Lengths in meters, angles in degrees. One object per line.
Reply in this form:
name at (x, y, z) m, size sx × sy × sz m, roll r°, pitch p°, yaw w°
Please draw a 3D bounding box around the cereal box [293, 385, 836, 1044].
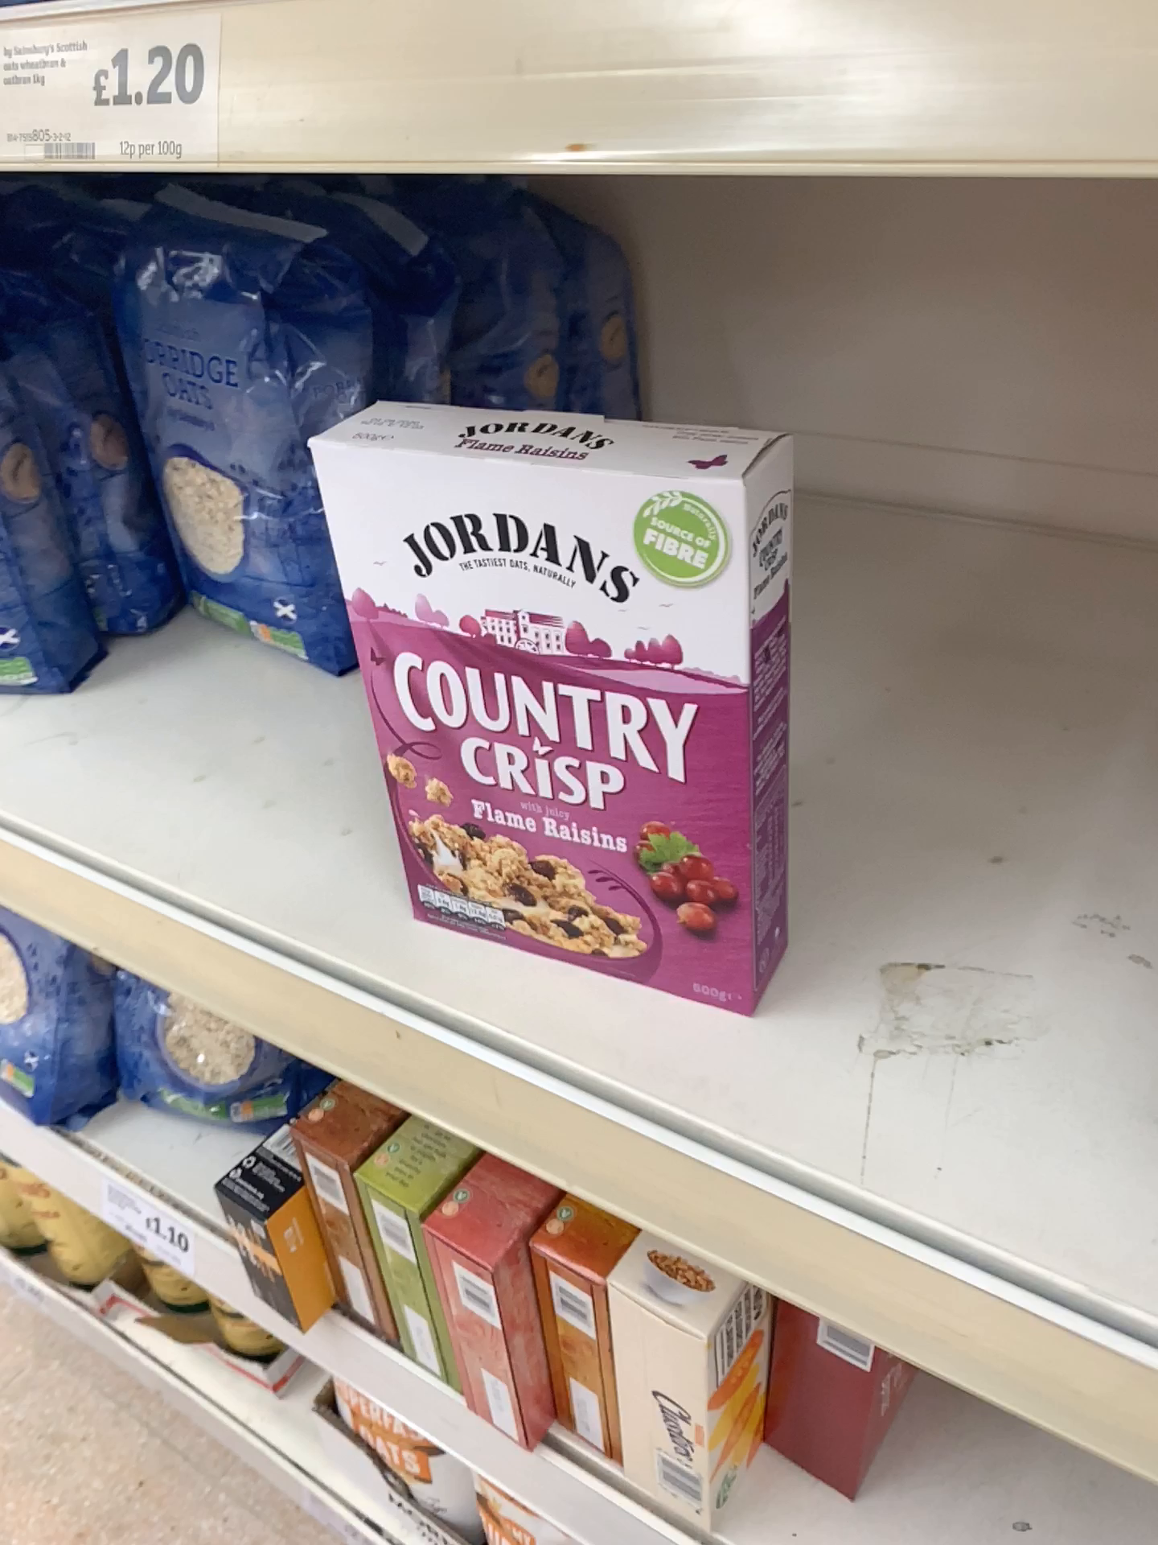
cereal box at (-0.001, -0.022, 0.511) m, size 0.200 × 0.258 × 0.050 m, roll 12°, pitch 37°, yaw 24°
